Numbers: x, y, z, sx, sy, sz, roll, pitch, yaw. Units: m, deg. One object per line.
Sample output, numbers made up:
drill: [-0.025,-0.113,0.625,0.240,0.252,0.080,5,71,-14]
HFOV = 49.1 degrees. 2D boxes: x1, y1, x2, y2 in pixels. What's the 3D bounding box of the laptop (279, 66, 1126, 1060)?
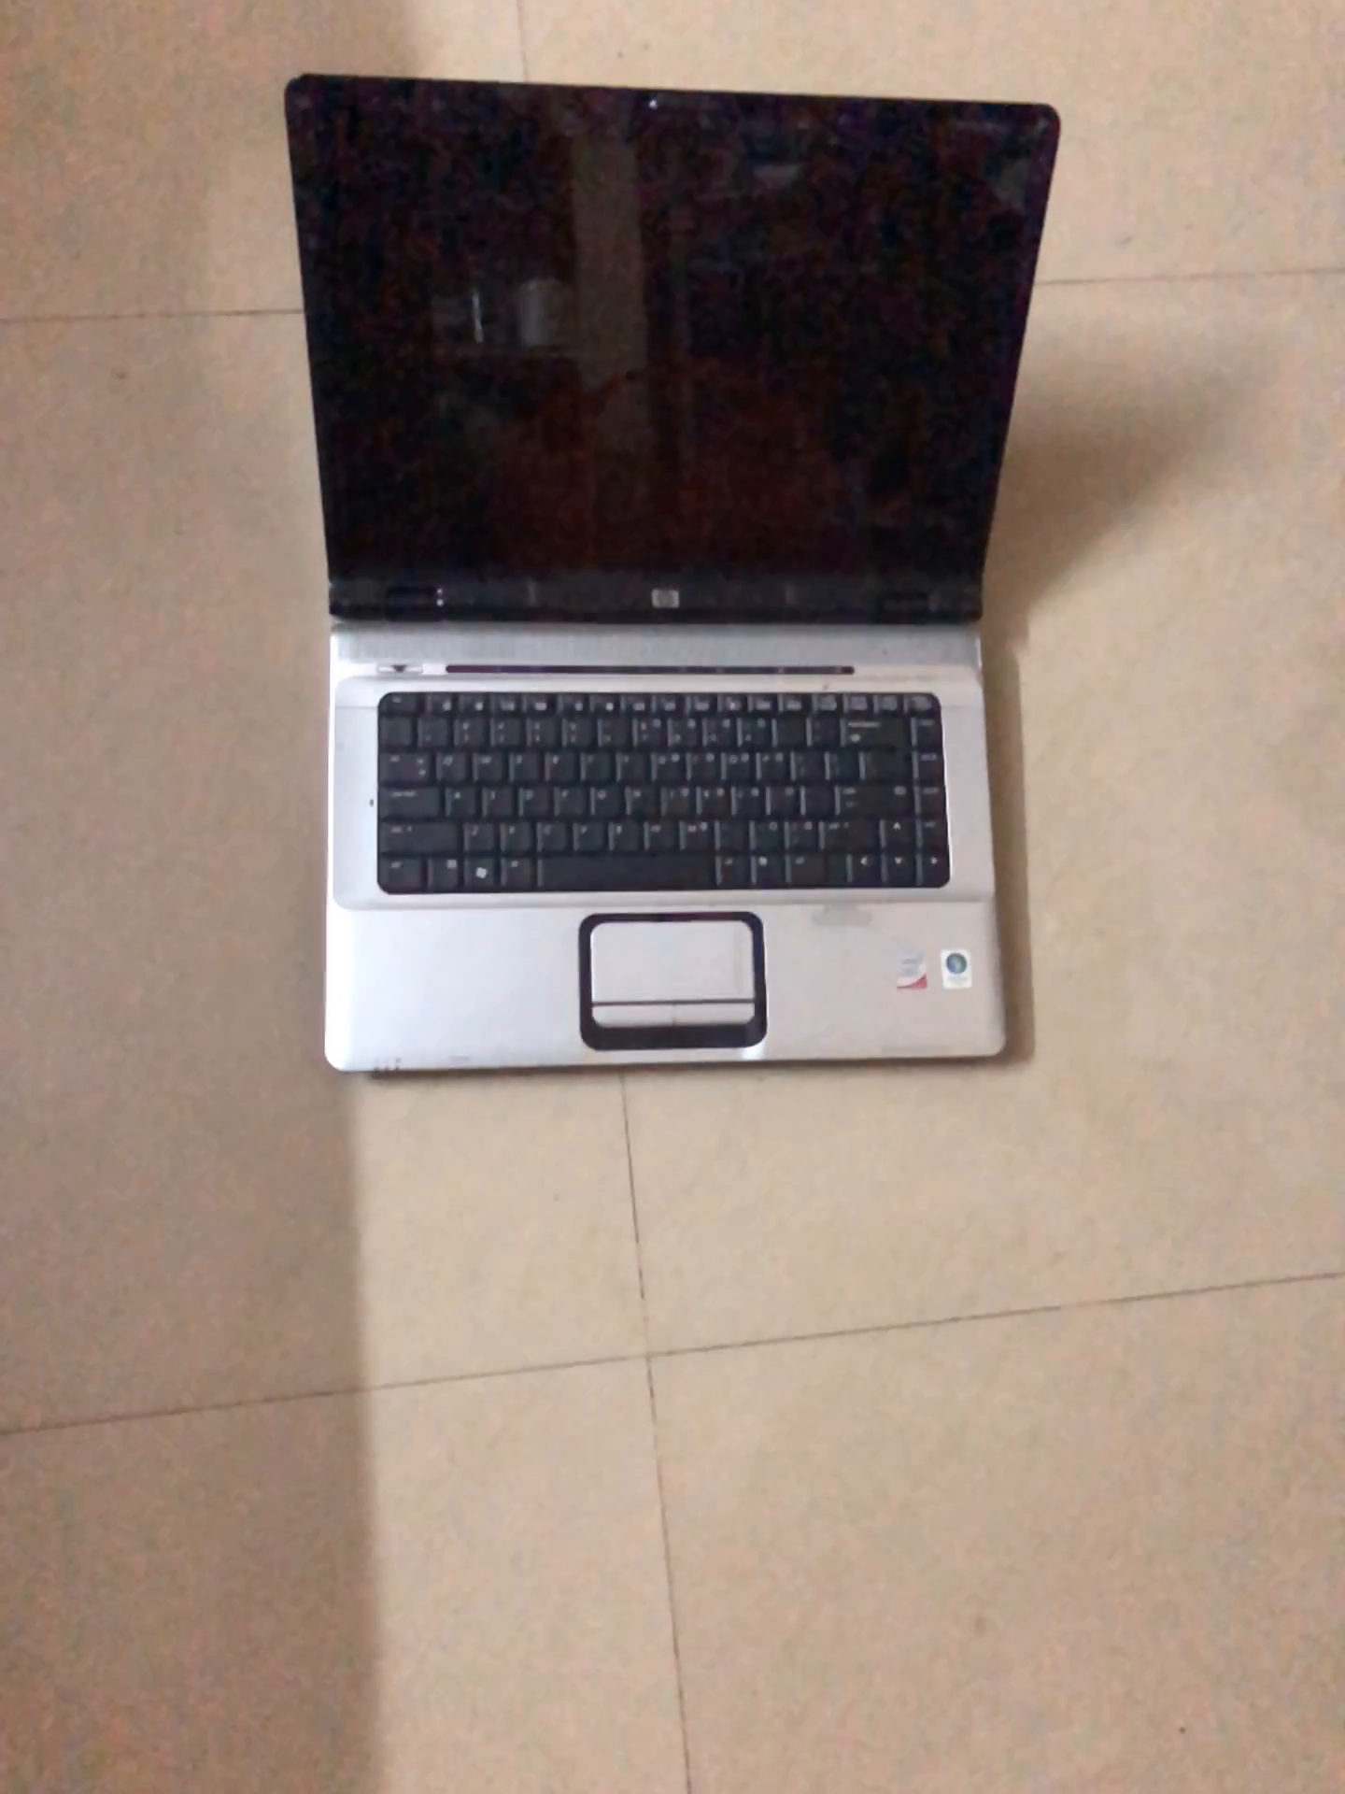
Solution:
laptop: [0.004,-0.139,0.697,0.338,0.167,0.409,0,80,-6]
